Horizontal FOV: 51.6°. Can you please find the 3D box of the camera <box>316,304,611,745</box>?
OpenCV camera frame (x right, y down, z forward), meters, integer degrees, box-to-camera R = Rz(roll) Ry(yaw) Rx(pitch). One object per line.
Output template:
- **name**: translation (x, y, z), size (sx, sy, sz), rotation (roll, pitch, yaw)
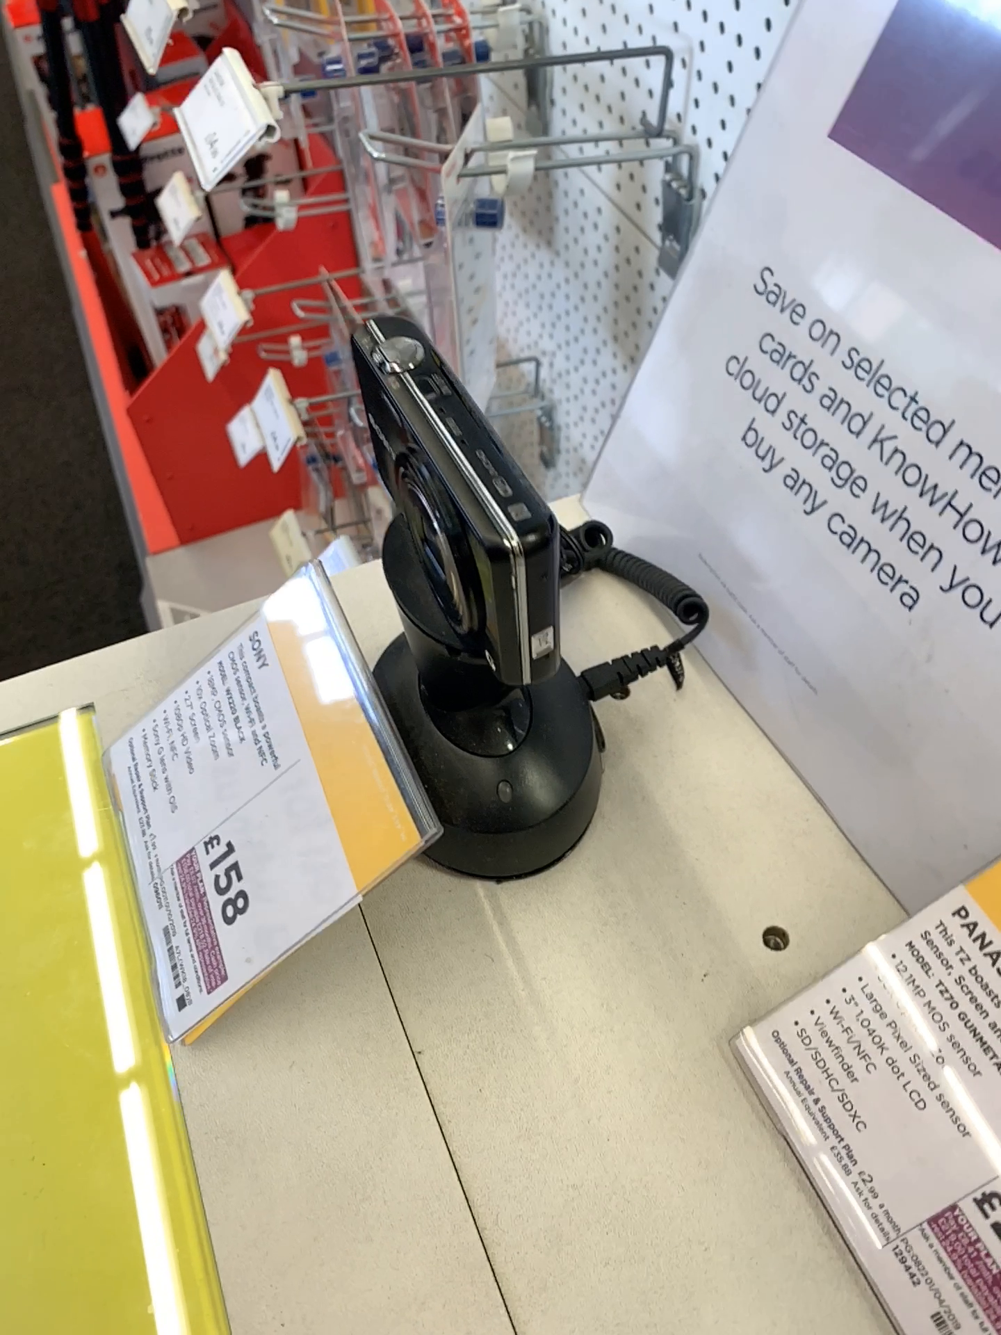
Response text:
- **camera**: translation (-0.011, -0.038, 0.253), size (0.030, 0.050, 0.101), rotation (-21, 53, -13)
